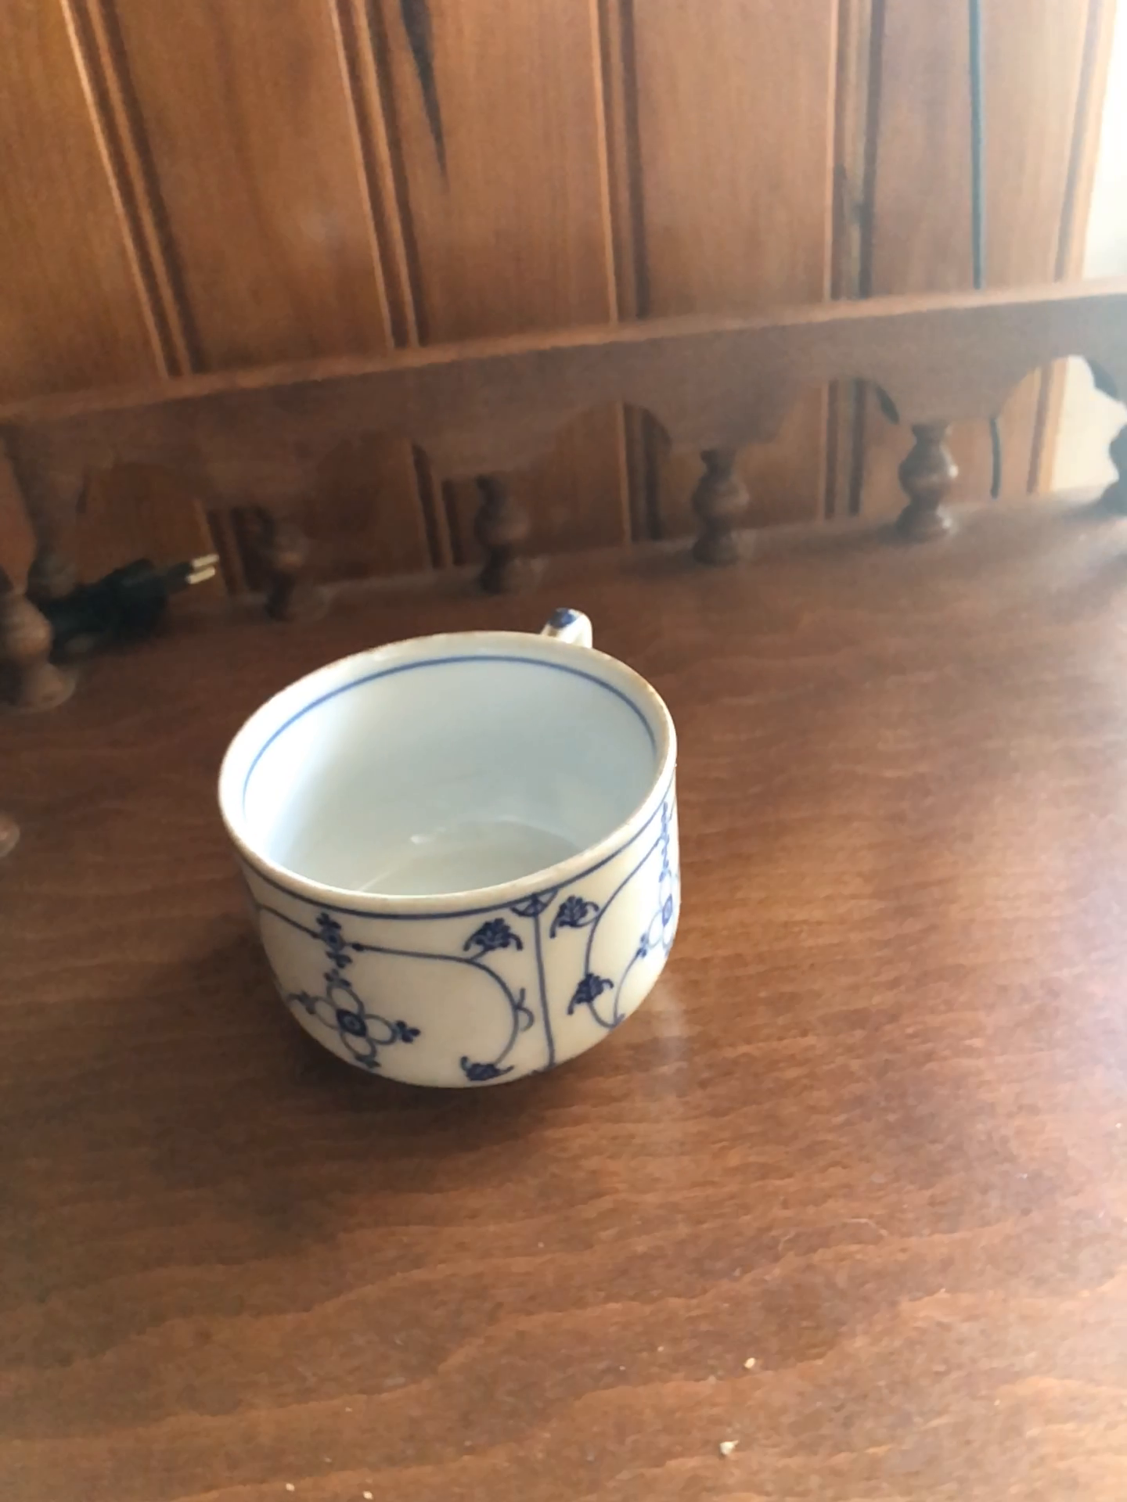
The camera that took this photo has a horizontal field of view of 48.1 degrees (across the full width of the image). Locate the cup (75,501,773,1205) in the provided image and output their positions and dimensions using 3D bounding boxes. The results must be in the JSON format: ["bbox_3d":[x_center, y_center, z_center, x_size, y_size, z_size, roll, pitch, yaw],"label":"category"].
[{"bbox_3d":[-0.013,0.008,0.240,0.080,0.060,0.121,8,37,19],"label":"cup"}]
